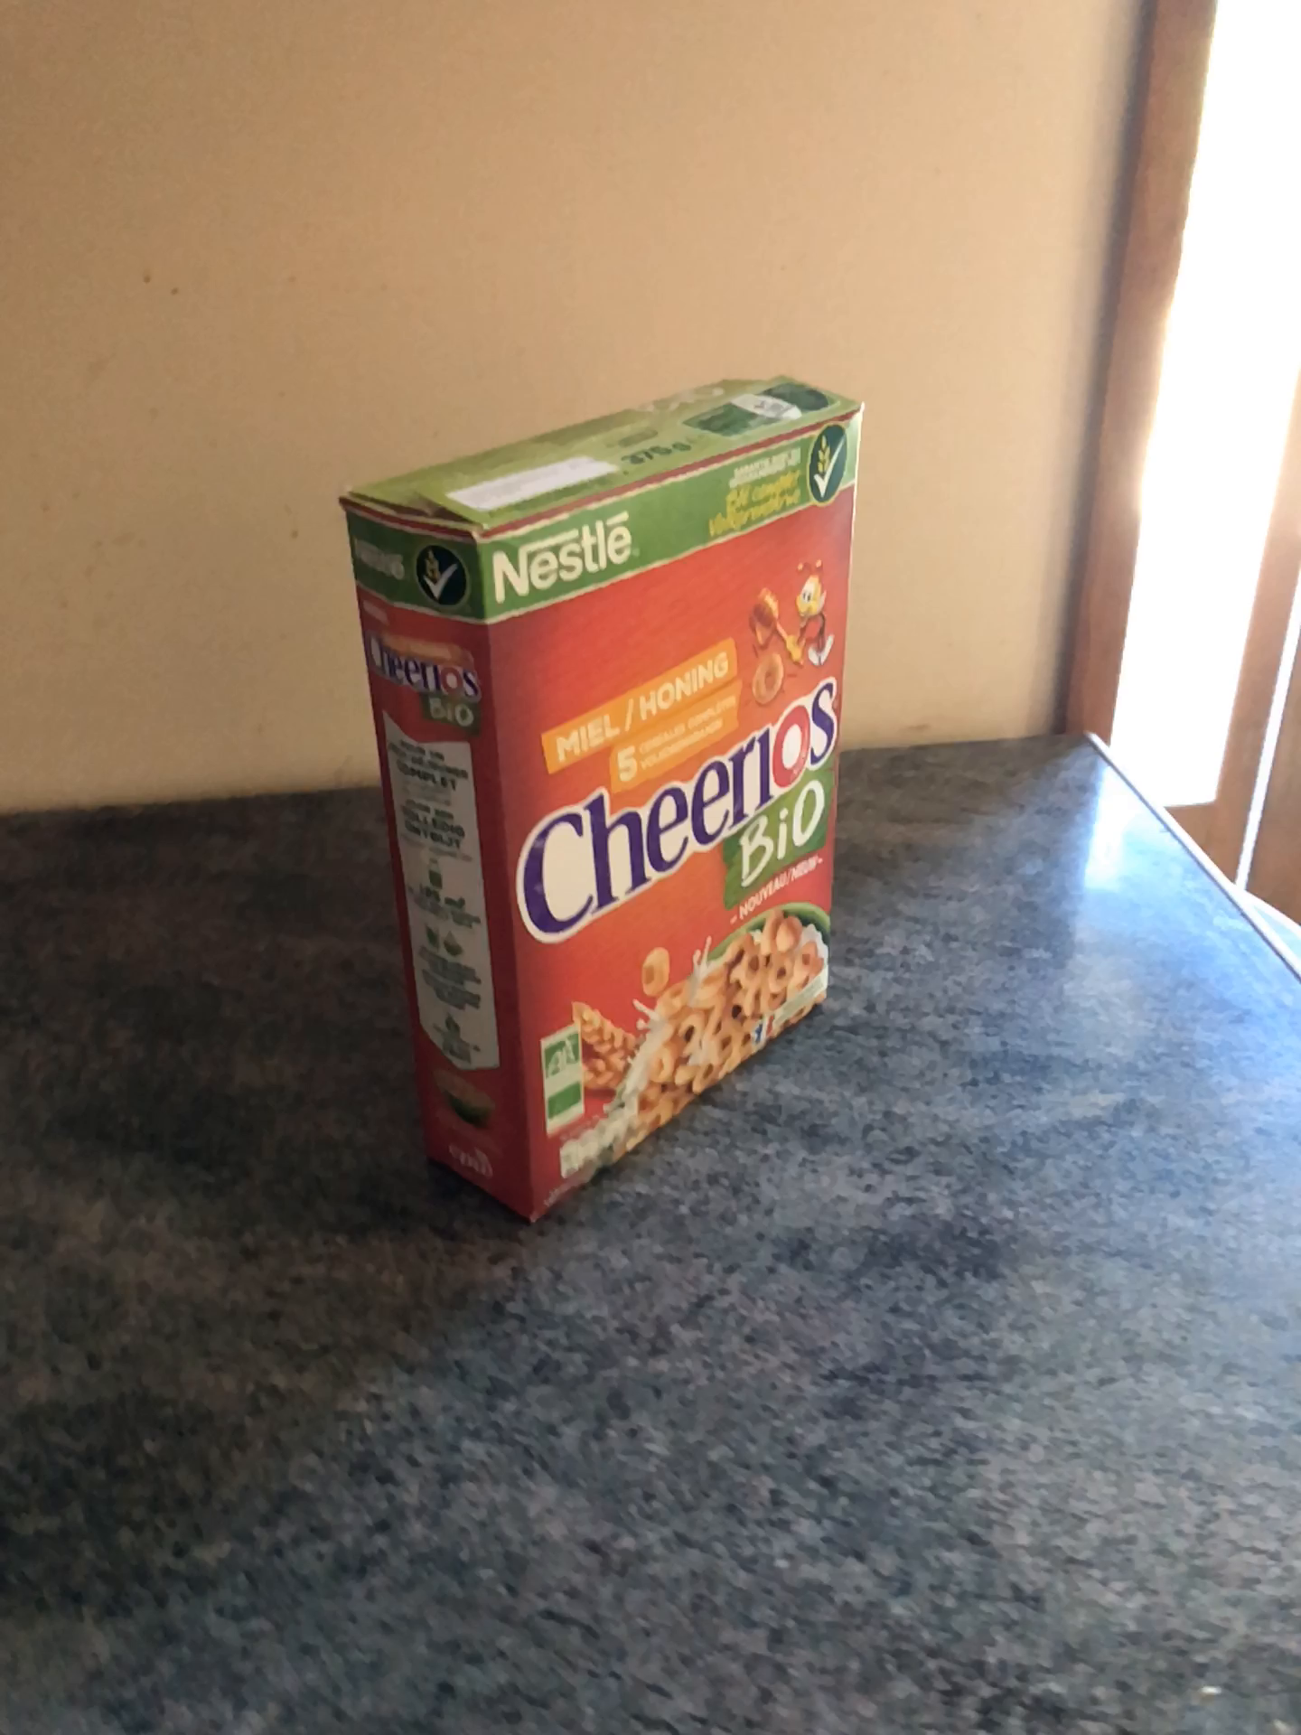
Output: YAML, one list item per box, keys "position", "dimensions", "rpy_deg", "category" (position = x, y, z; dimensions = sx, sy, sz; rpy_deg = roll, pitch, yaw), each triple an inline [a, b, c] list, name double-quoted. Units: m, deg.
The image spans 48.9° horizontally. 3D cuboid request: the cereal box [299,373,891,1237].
- position: [-0.006, -0.031, 0.540]
  dimensions: [0.080, 0.258, 0.201]
  rpy_deg: [23, 38, 36]
  category: "cereal box"
